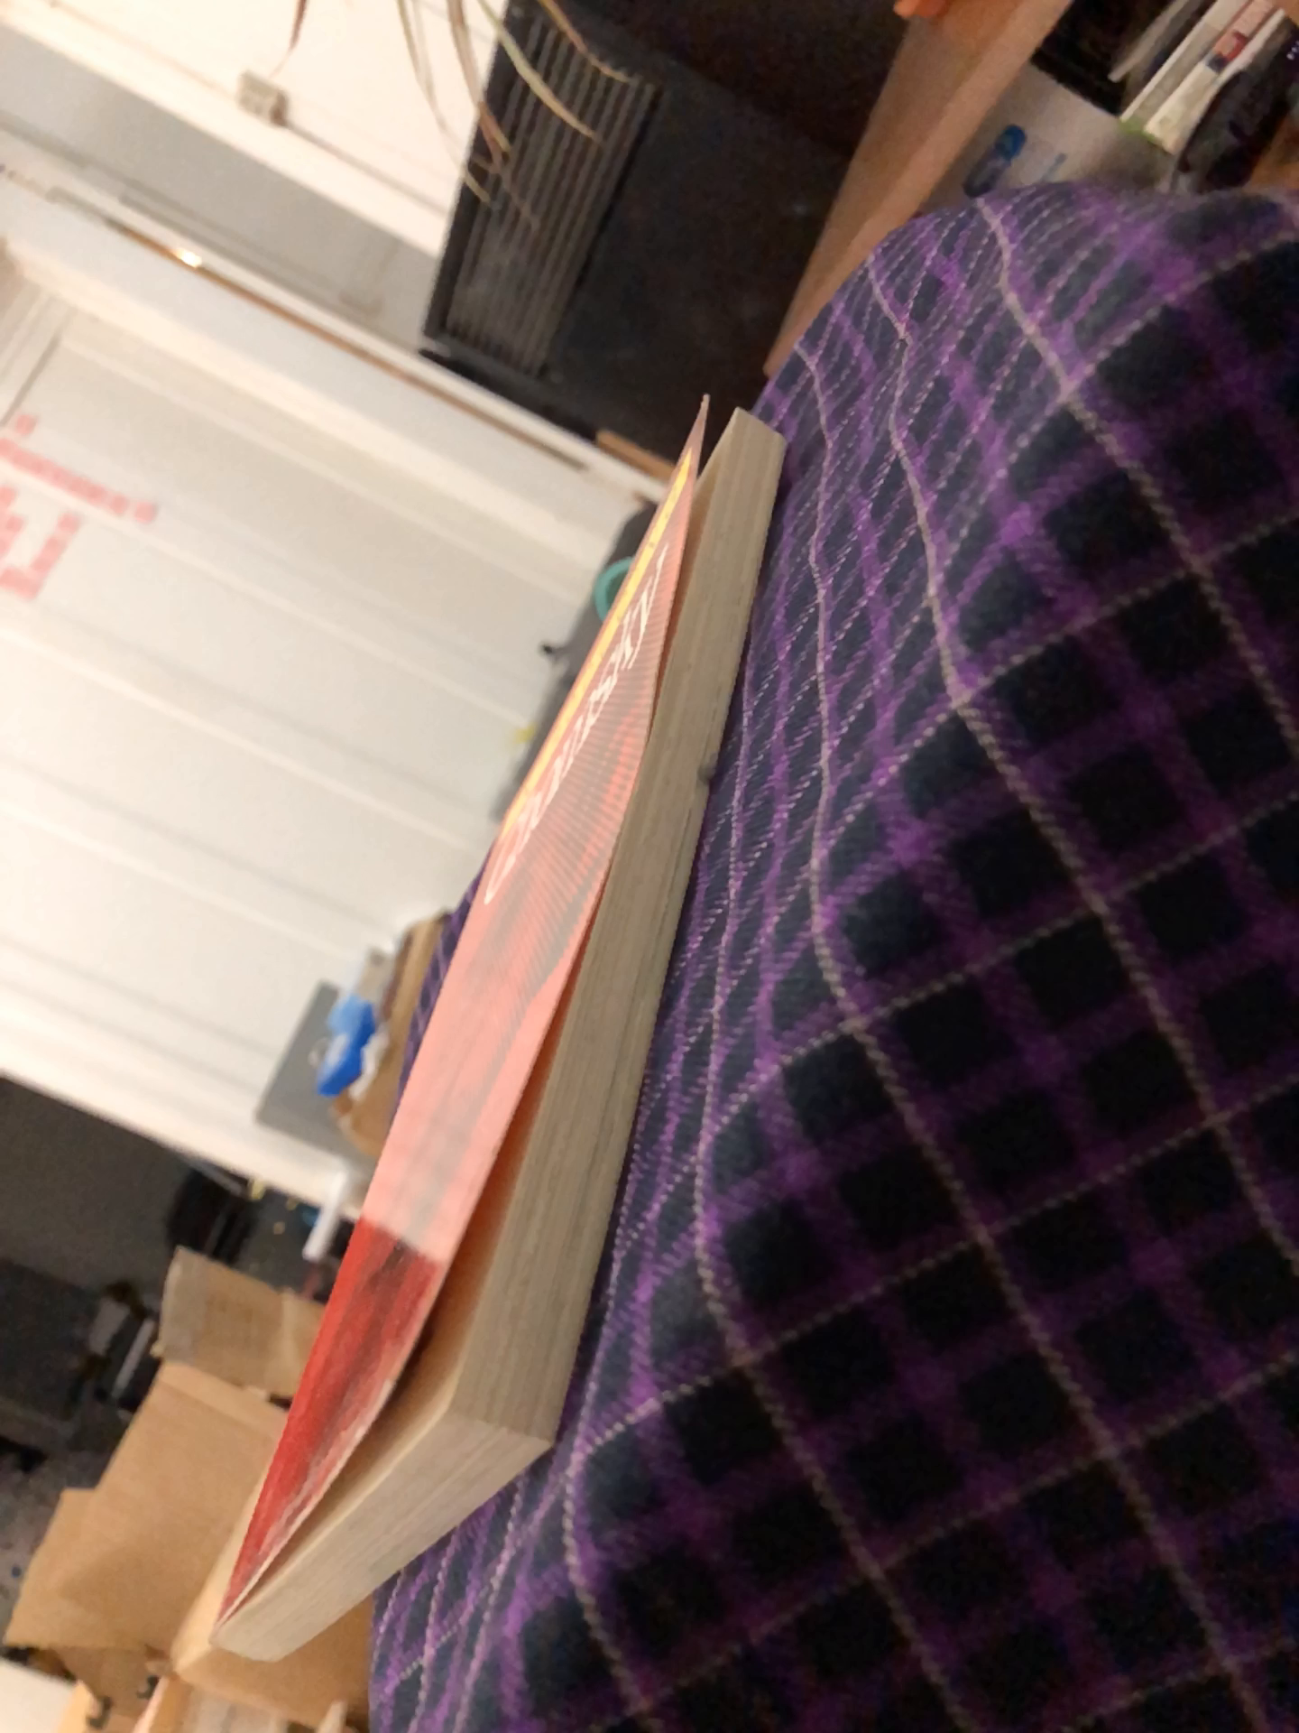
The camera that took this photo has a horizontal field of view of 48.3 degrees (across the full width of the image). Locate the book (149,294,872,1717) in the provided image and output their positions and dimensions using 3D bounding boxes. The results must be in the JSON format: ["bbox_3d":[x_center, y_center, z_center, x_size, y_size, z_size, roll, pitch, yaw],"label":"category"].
[{"bbox_3d":[-0.023,0.020,0.289,0.180,0.020,0.240,-54,15,46],"label":"book"}]
